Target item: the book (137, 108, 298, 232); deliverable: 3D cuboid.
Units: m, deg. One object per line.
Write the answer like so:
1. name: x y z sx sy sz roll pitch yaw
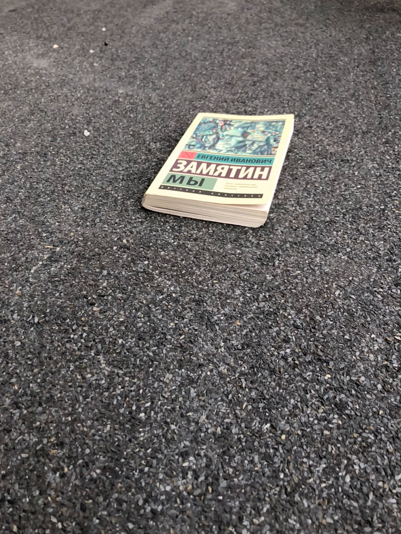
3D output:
1. book: 0.027 -0.108 0.447 0.120 0.026 0.182 9 43 13
